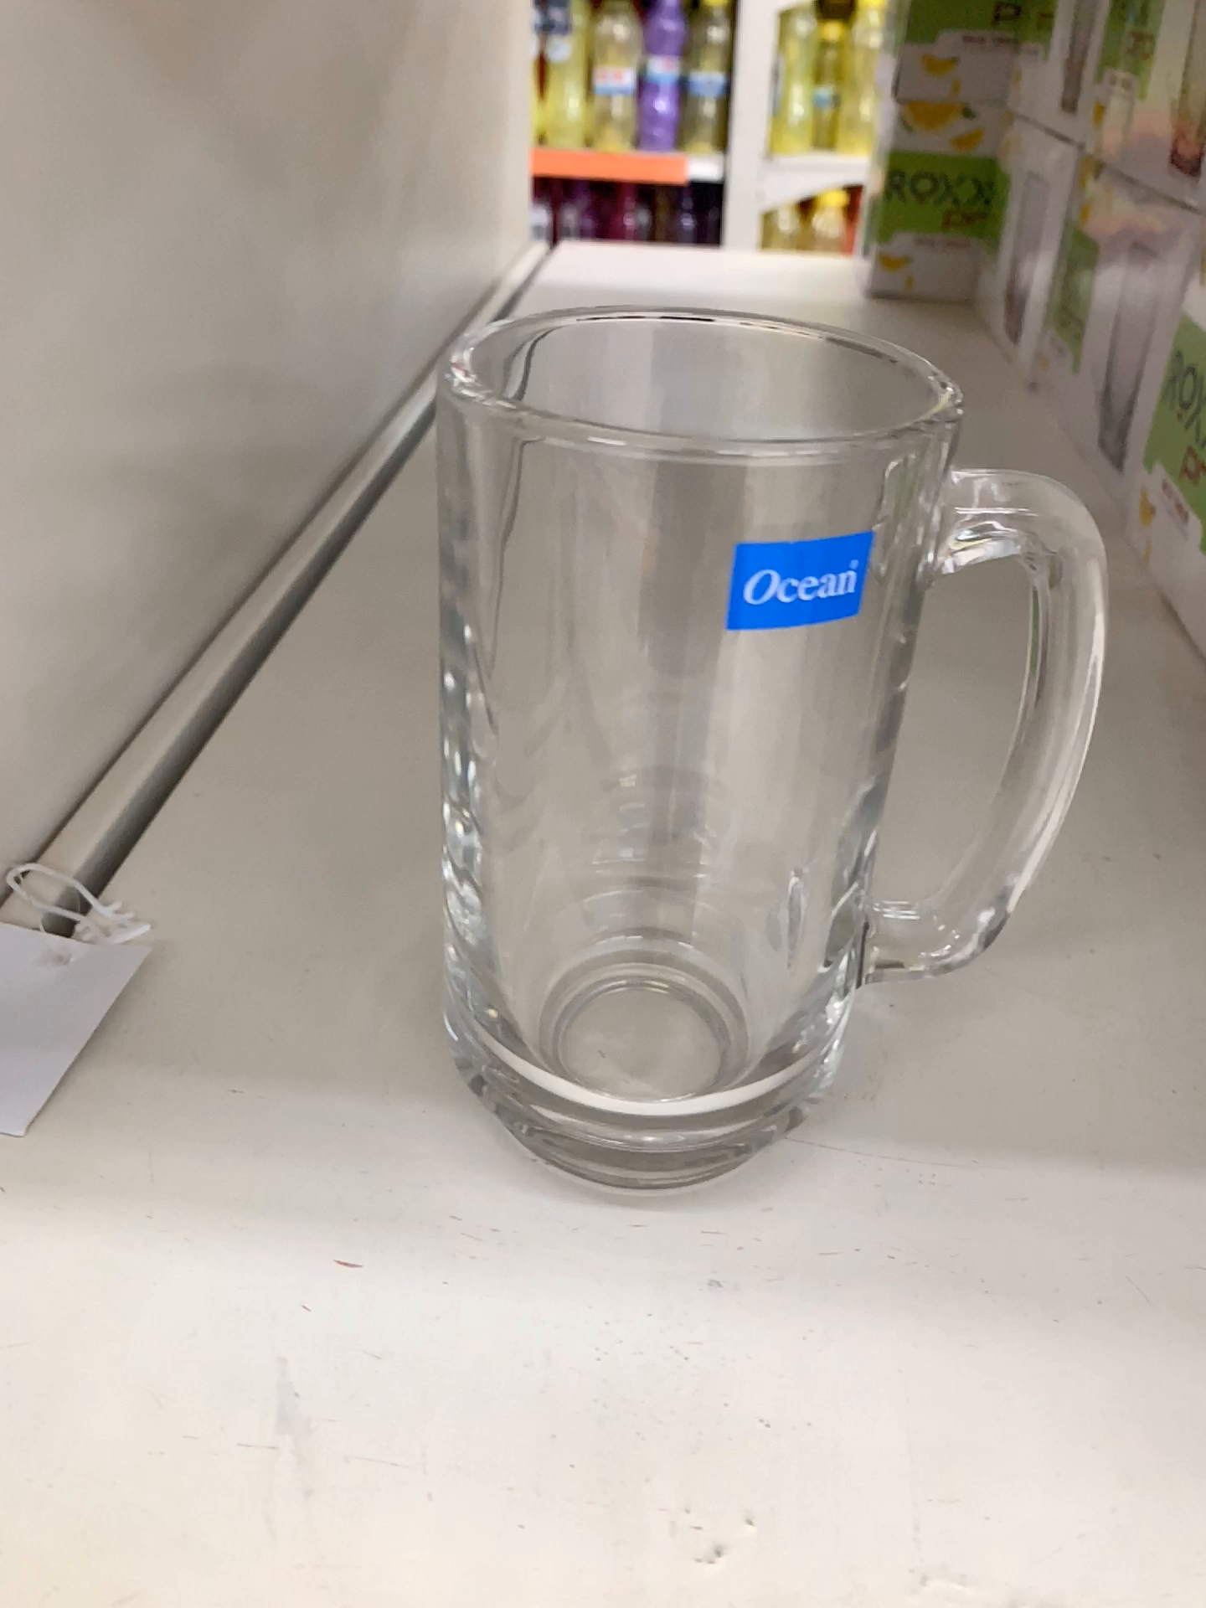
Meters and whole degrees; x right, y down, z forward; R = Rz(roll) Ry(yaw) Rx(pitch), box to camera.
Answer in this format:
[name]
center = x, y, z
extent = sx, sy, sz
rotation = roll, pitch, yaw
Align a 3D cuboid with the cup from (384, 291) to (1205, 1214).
[cup]
center = 0.025, -0.011, 0.215
extent = 0.111, 0.127, 0.076
rotation = -5, 34, -11
